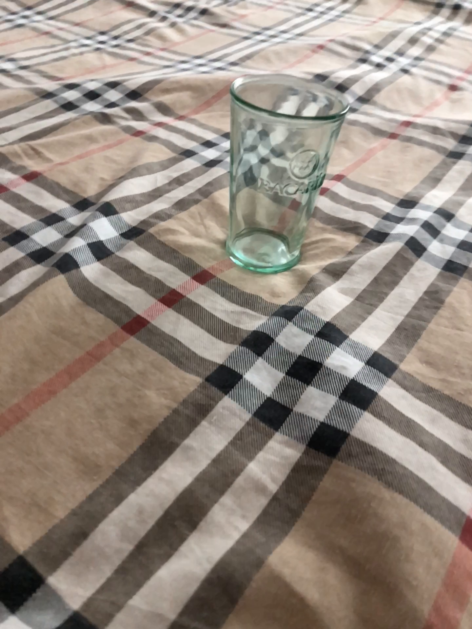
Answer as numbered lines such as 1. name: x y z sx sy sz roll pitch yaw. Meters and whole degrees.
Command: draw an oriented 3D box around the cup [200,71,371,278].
1. cup: 0.026 -0.100 0.366 0.085 0.112 0.082 2 39 -2
